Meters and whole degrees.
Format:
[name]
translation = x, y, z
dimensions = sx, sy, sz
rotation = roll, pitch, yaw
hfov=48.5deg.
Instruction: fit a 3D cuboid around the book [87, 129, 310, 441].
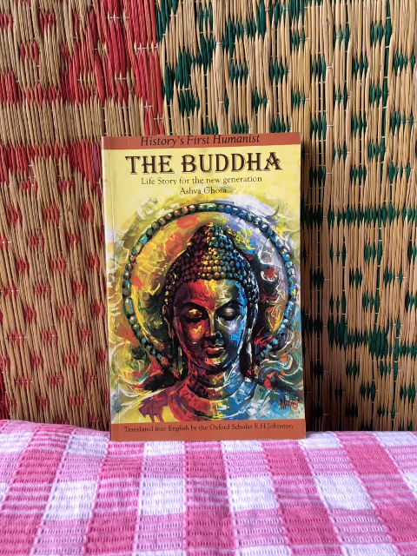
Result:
[book]
translation = -0.006, 0.005, 0.325
dimensions = 0.146, 0.207, 0.030
rotation = -1, 1, 1
